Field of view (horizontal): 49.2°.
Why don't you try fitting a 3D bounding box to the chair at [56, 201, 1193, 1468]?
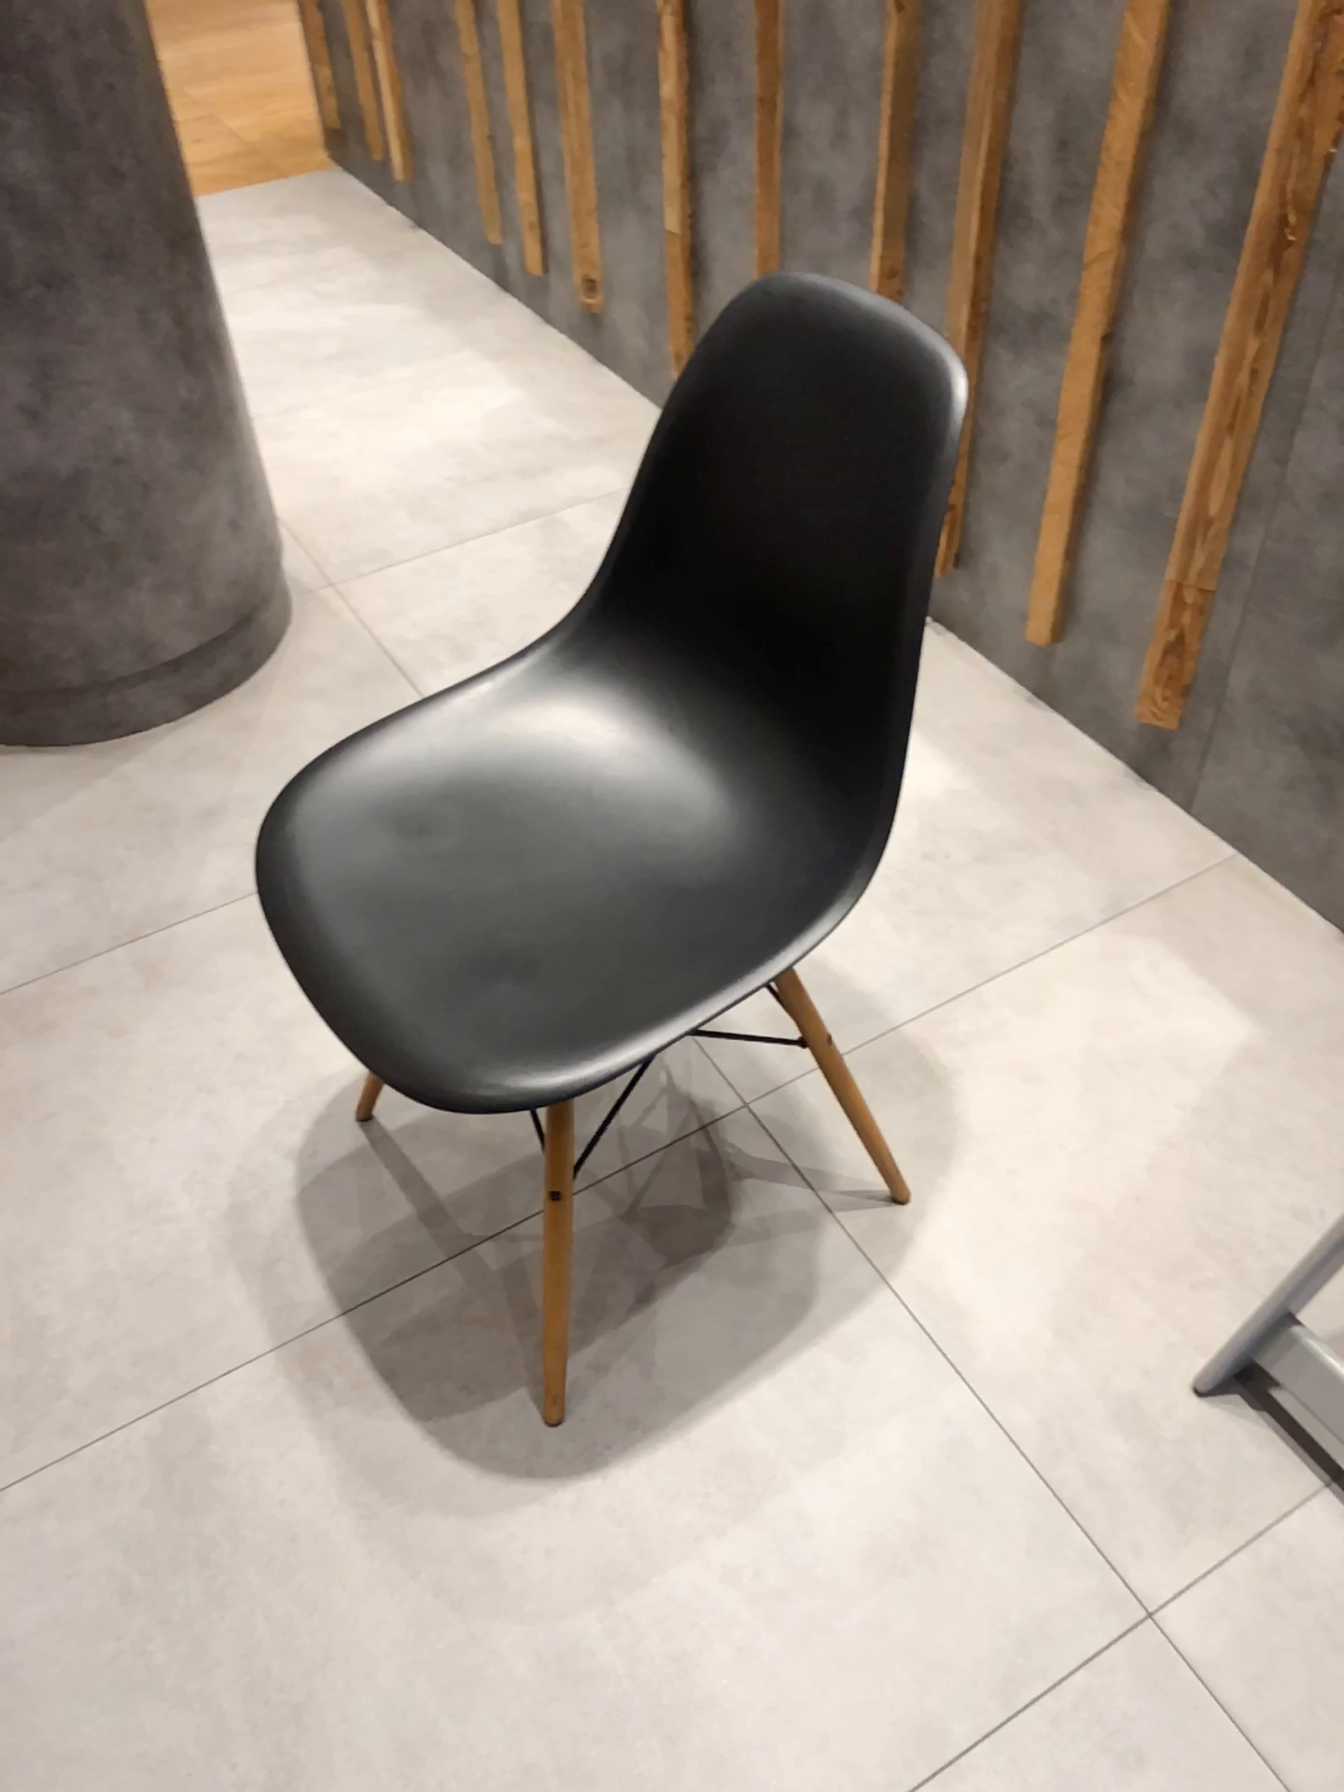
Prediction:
[{"bbox_3d":[-0.040,-0.050,1.227,0.564,0.757,0.510,-26,49,-22],"label":"chair"}]
